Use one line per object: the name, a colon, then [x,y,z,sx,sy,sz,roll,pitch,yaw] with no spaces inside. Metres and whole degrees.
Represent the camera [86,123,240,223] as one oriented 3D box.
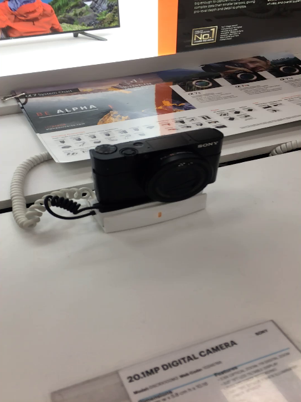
camera: [0.011,-0.024,0.335,0.113,0.065,0.030,-14,49,-14]
